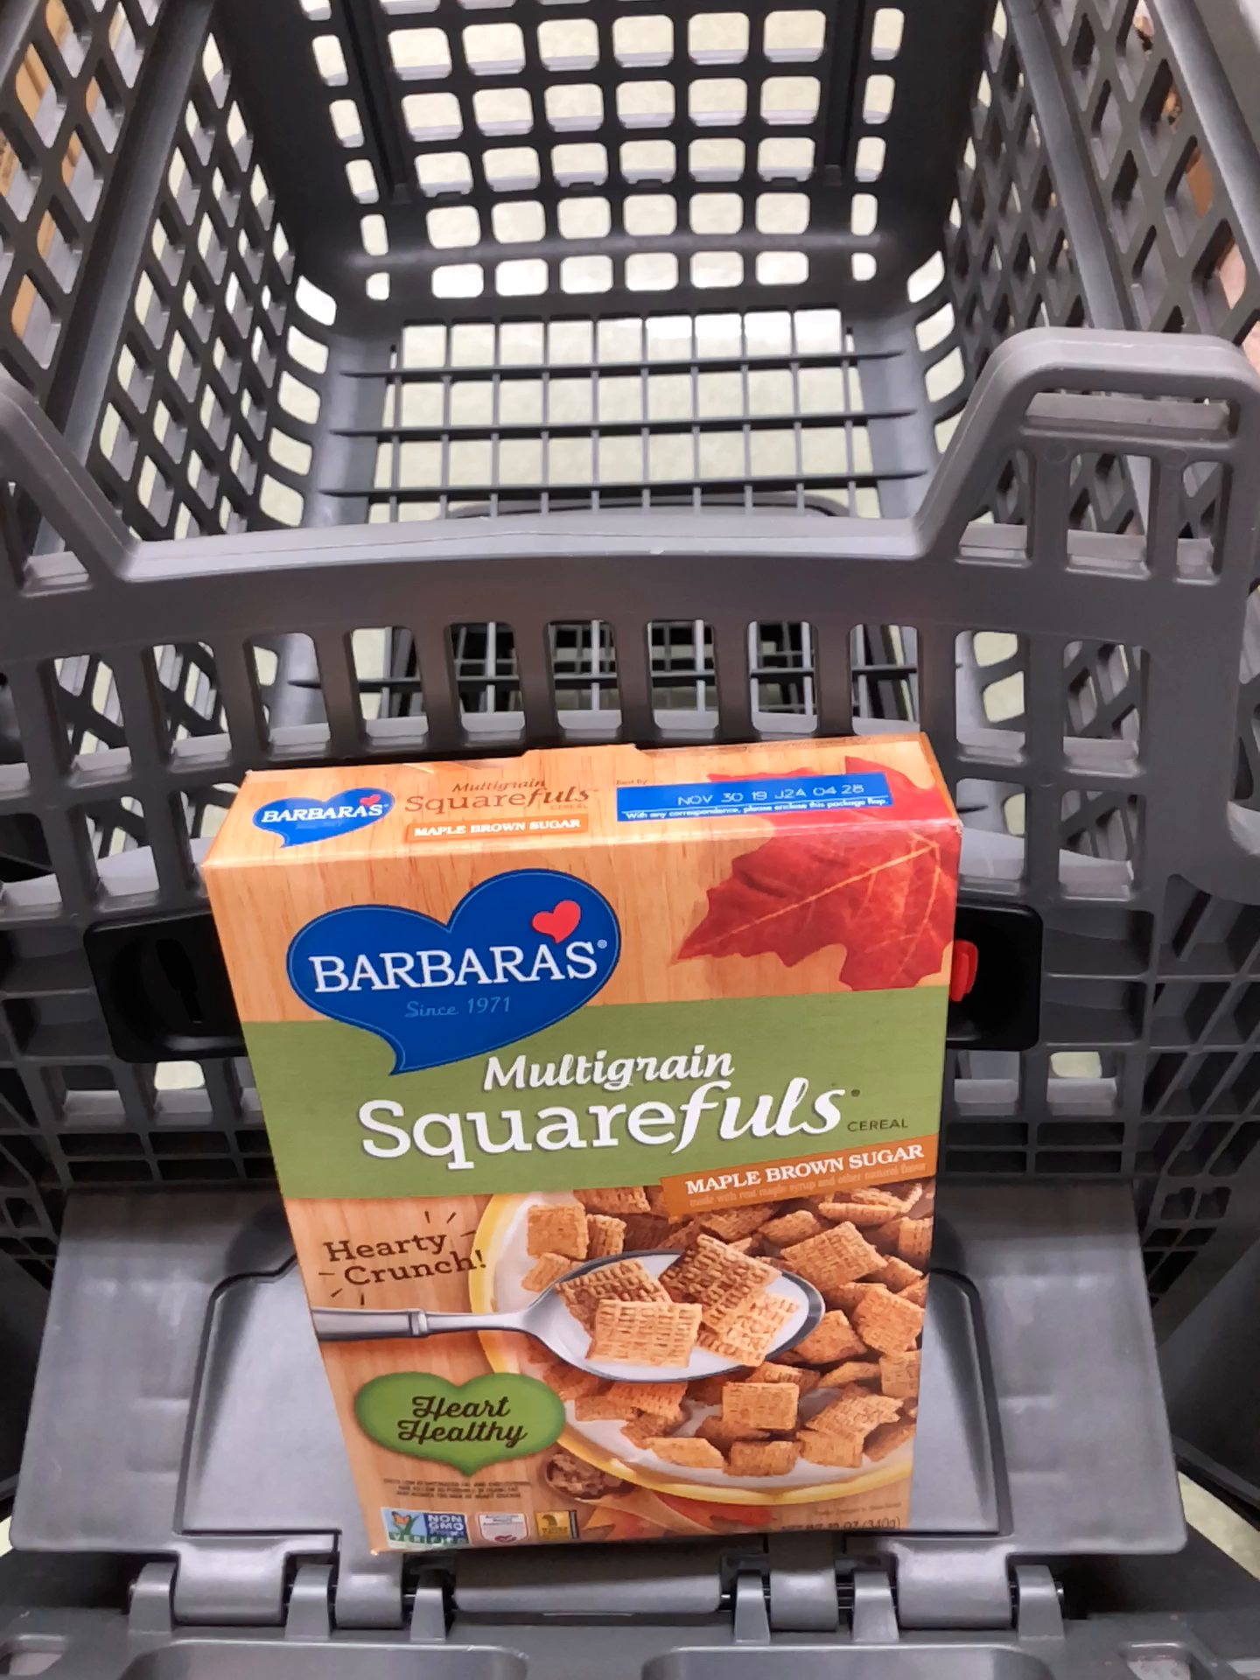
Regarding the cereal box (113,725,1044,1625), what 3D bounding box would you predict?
[{"bbox_3d":[-0.004,0.104,0.375,0.190,0.260,0.060,-3,30,2],"label":"cereal box"}]
